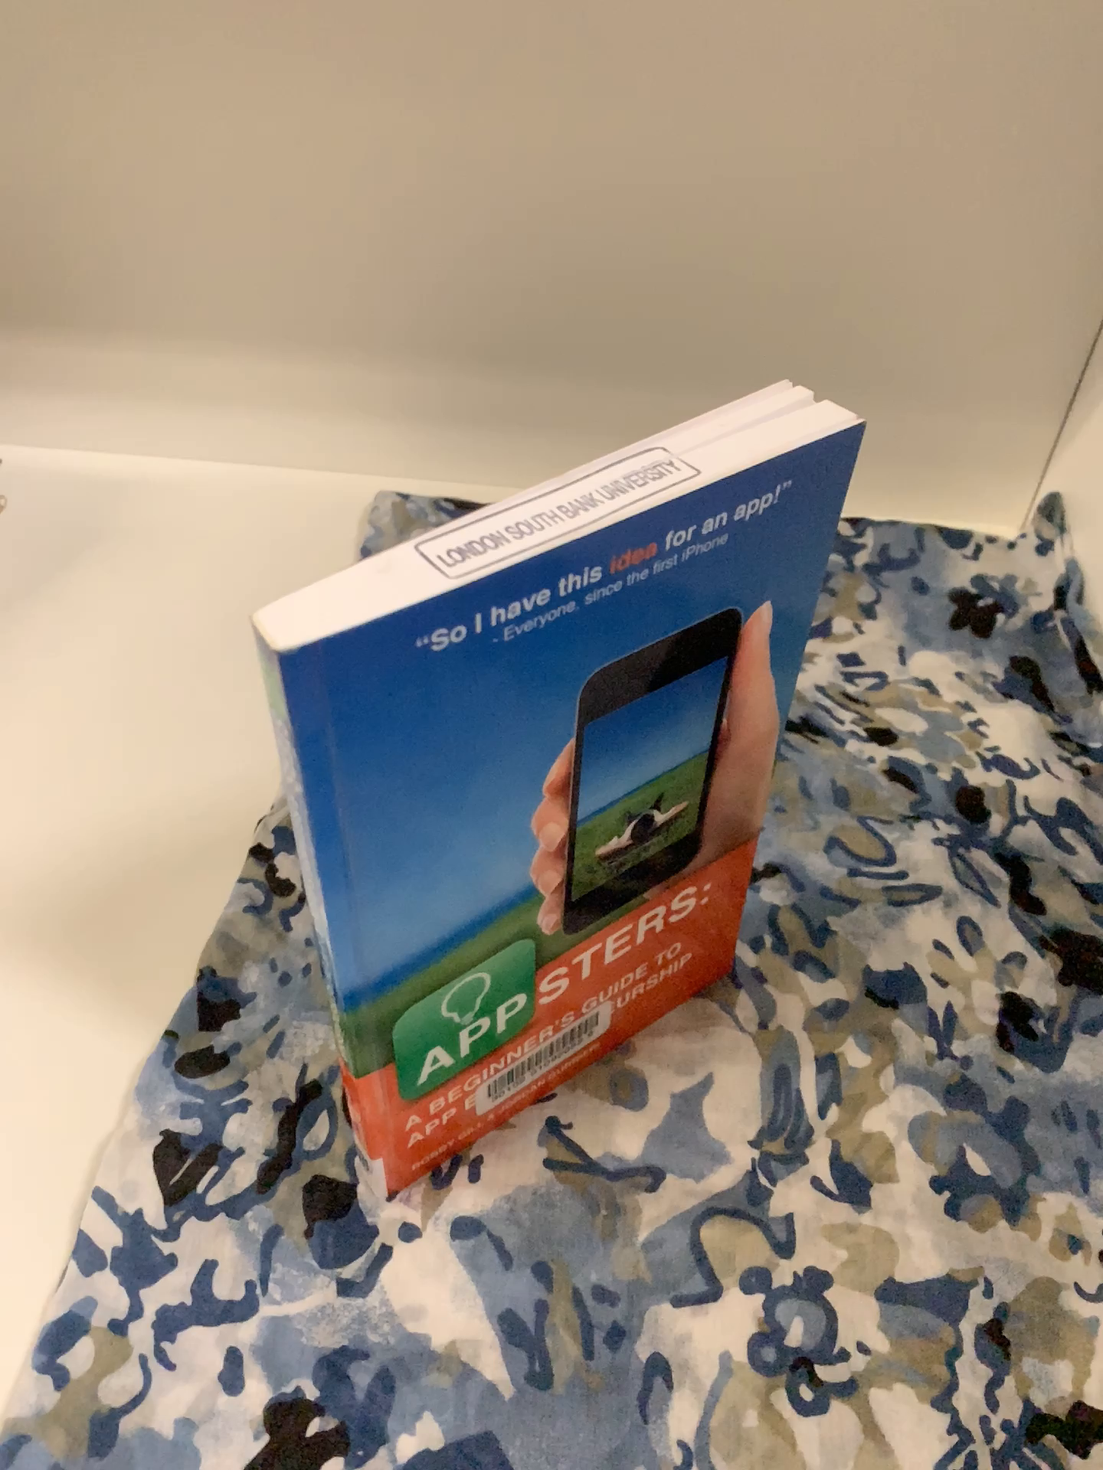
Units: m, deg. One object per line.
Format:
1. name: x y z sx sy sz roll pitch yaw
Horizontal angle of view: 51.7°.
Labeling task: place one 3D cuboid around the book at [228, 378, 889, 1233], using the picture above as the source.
1. book: 0.006 0.029 0.285 0.140 0.203 0.024 -28 51 -27
